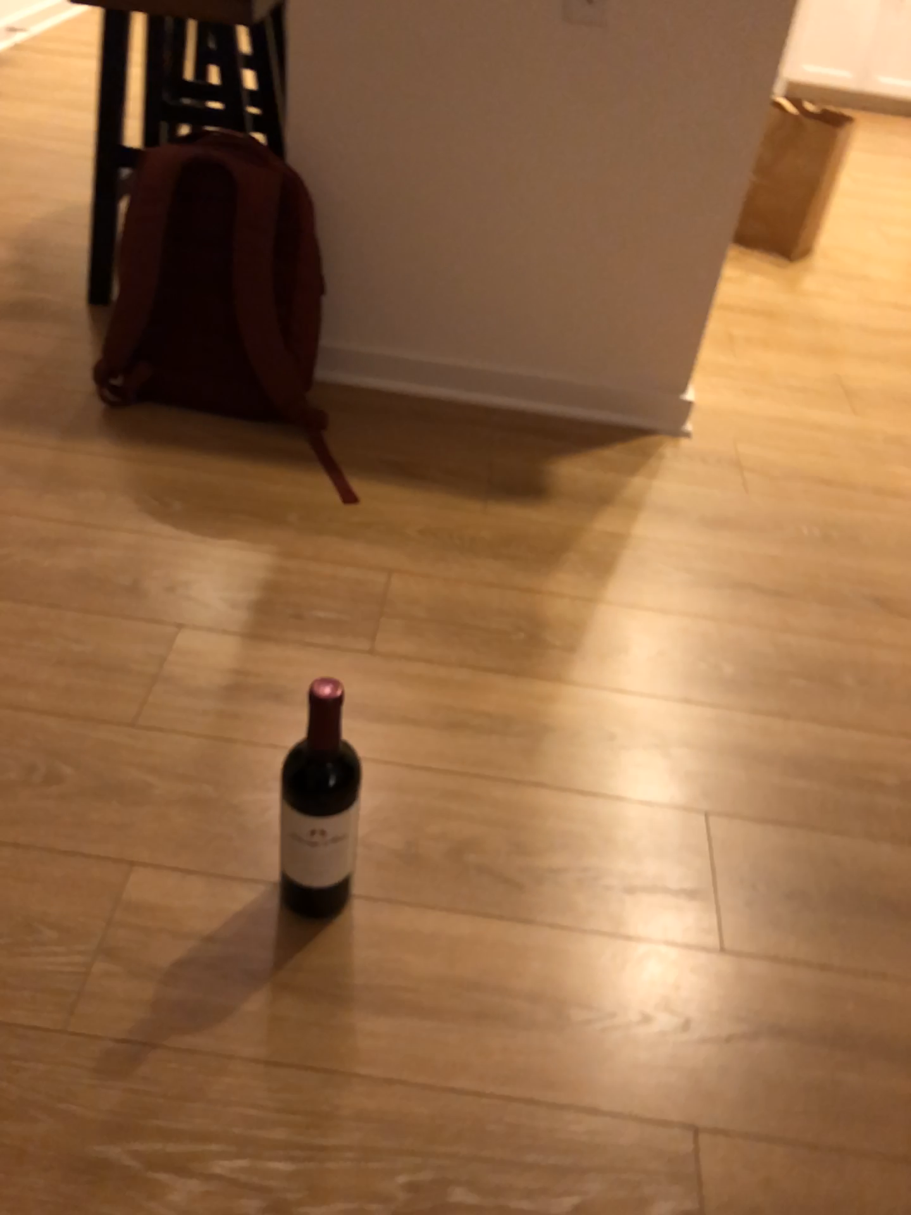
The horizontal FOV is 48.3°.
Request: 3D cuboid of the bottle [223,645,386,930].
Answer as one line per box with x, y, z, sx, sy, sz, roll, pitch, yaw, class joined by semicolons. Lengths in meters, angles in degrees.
-0.148;0.181;0.994;0.110;0.259;0.101;5;39;-4;bottle
